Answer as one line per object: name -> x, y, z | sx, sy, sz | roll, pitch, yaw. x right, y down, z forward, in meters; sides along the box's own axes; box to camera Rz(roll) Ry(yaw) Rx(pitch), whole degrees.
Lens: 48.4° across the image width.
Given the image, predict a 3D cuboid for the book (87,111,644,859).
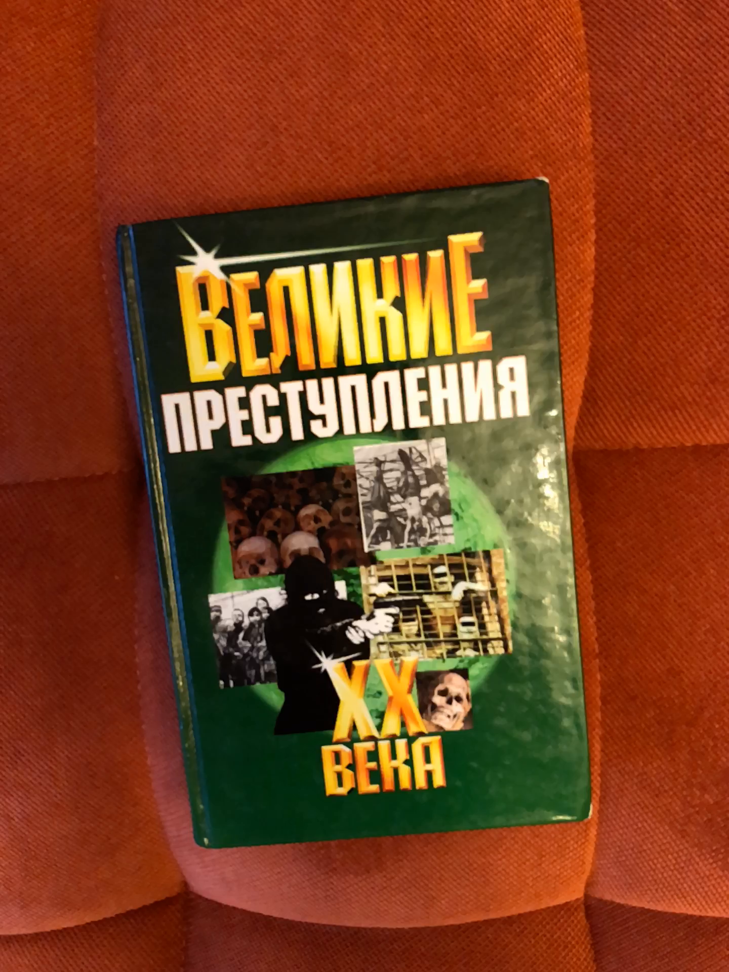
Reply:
book -> 0.004, 0.006, 0.280 | 0.160, 0.040, 0.230 | -4, 96, 4
